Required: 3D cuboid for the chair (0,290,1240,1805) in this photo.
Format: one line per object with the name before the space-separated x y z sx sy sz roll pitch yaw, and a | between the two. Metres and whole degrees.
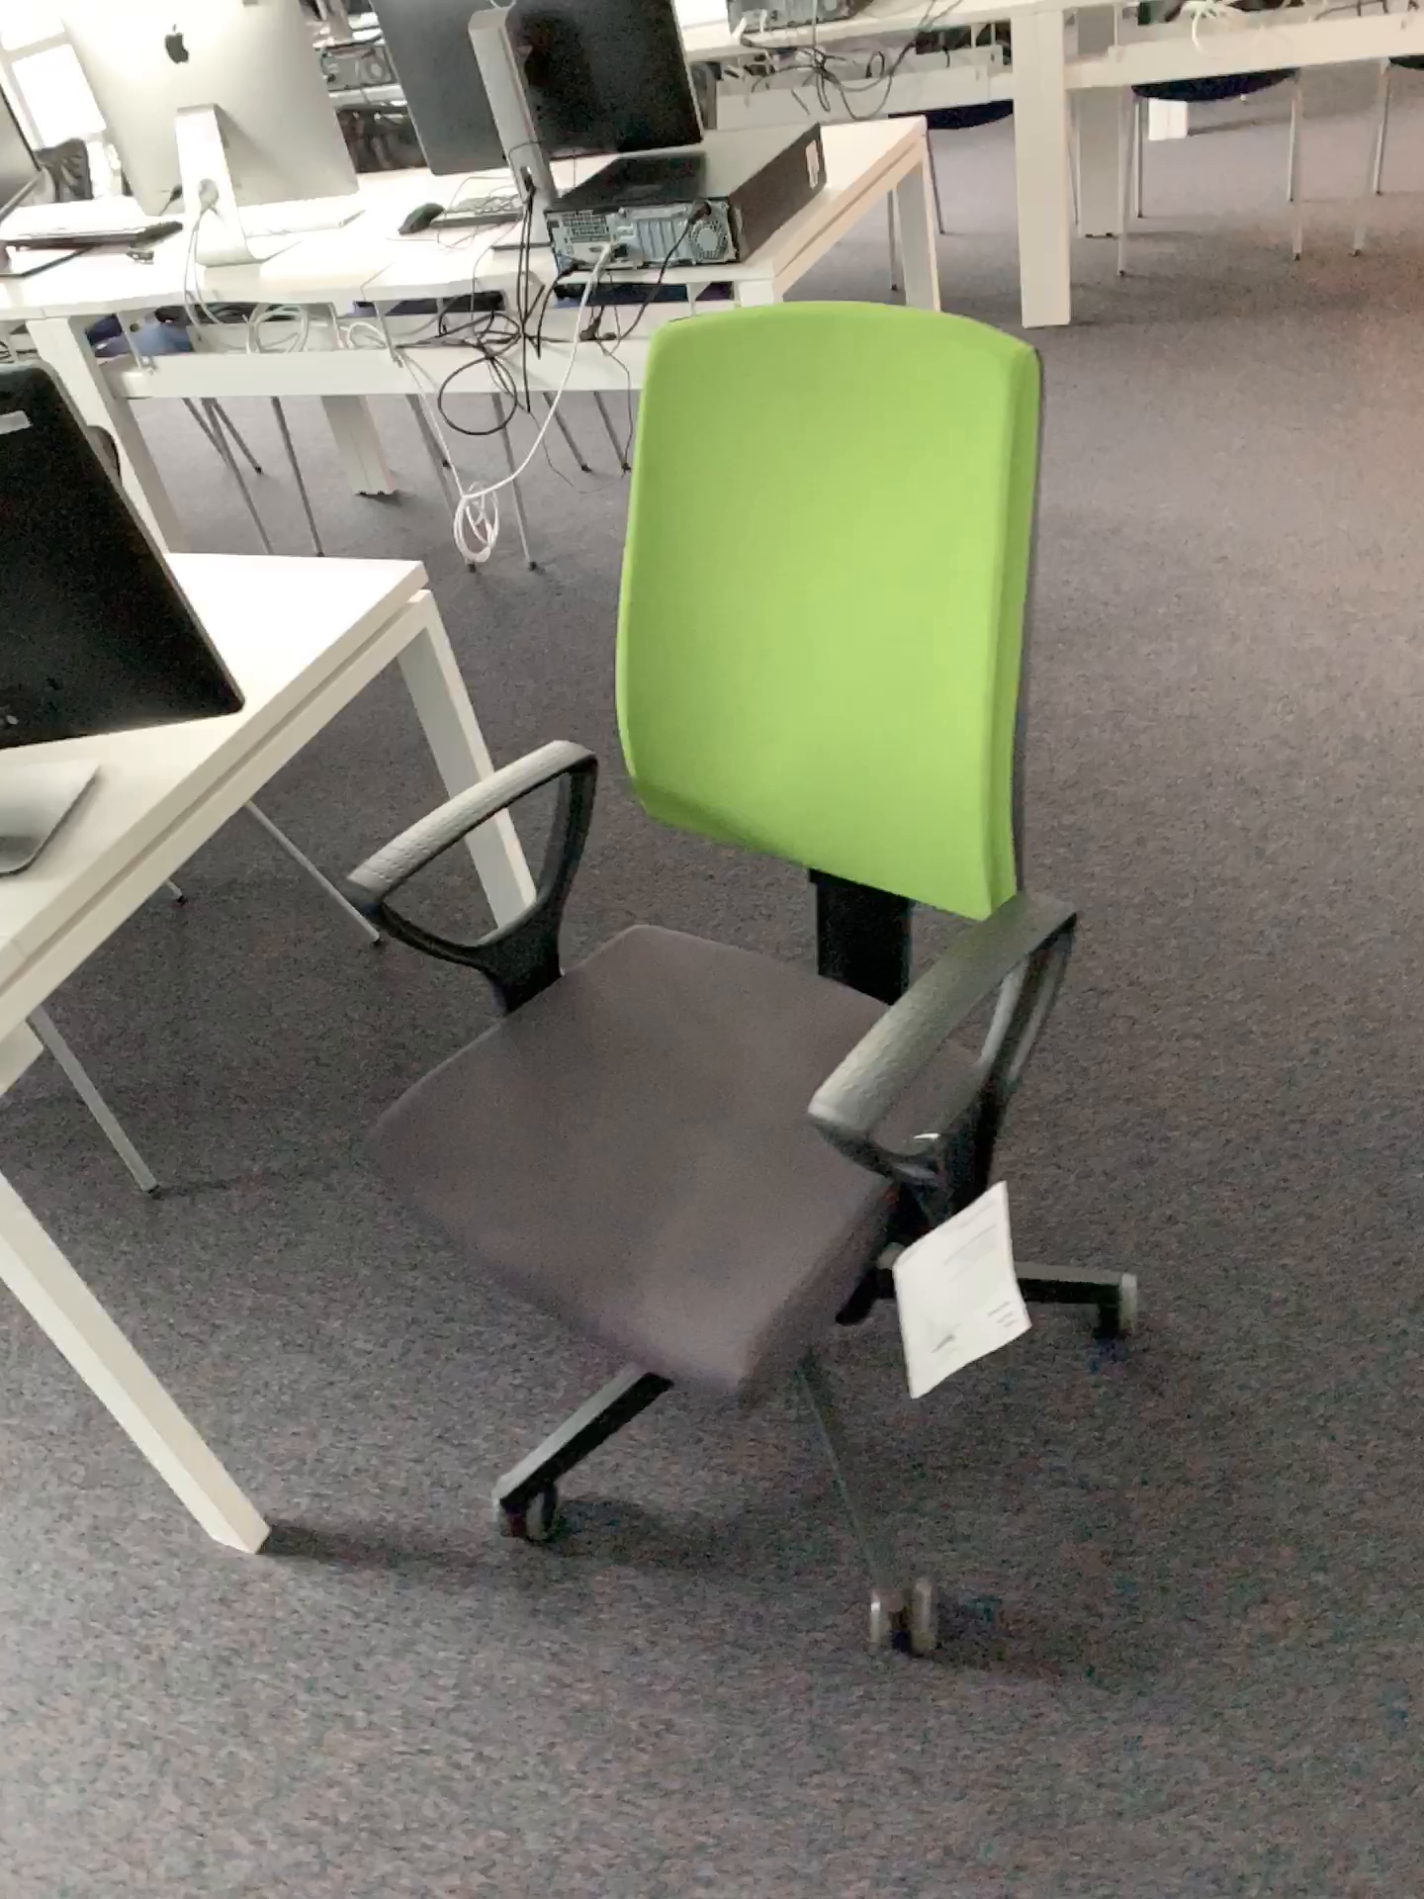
chair | 0.010 0.066 1.368 0.622 1.044 0.762 20 49 34
